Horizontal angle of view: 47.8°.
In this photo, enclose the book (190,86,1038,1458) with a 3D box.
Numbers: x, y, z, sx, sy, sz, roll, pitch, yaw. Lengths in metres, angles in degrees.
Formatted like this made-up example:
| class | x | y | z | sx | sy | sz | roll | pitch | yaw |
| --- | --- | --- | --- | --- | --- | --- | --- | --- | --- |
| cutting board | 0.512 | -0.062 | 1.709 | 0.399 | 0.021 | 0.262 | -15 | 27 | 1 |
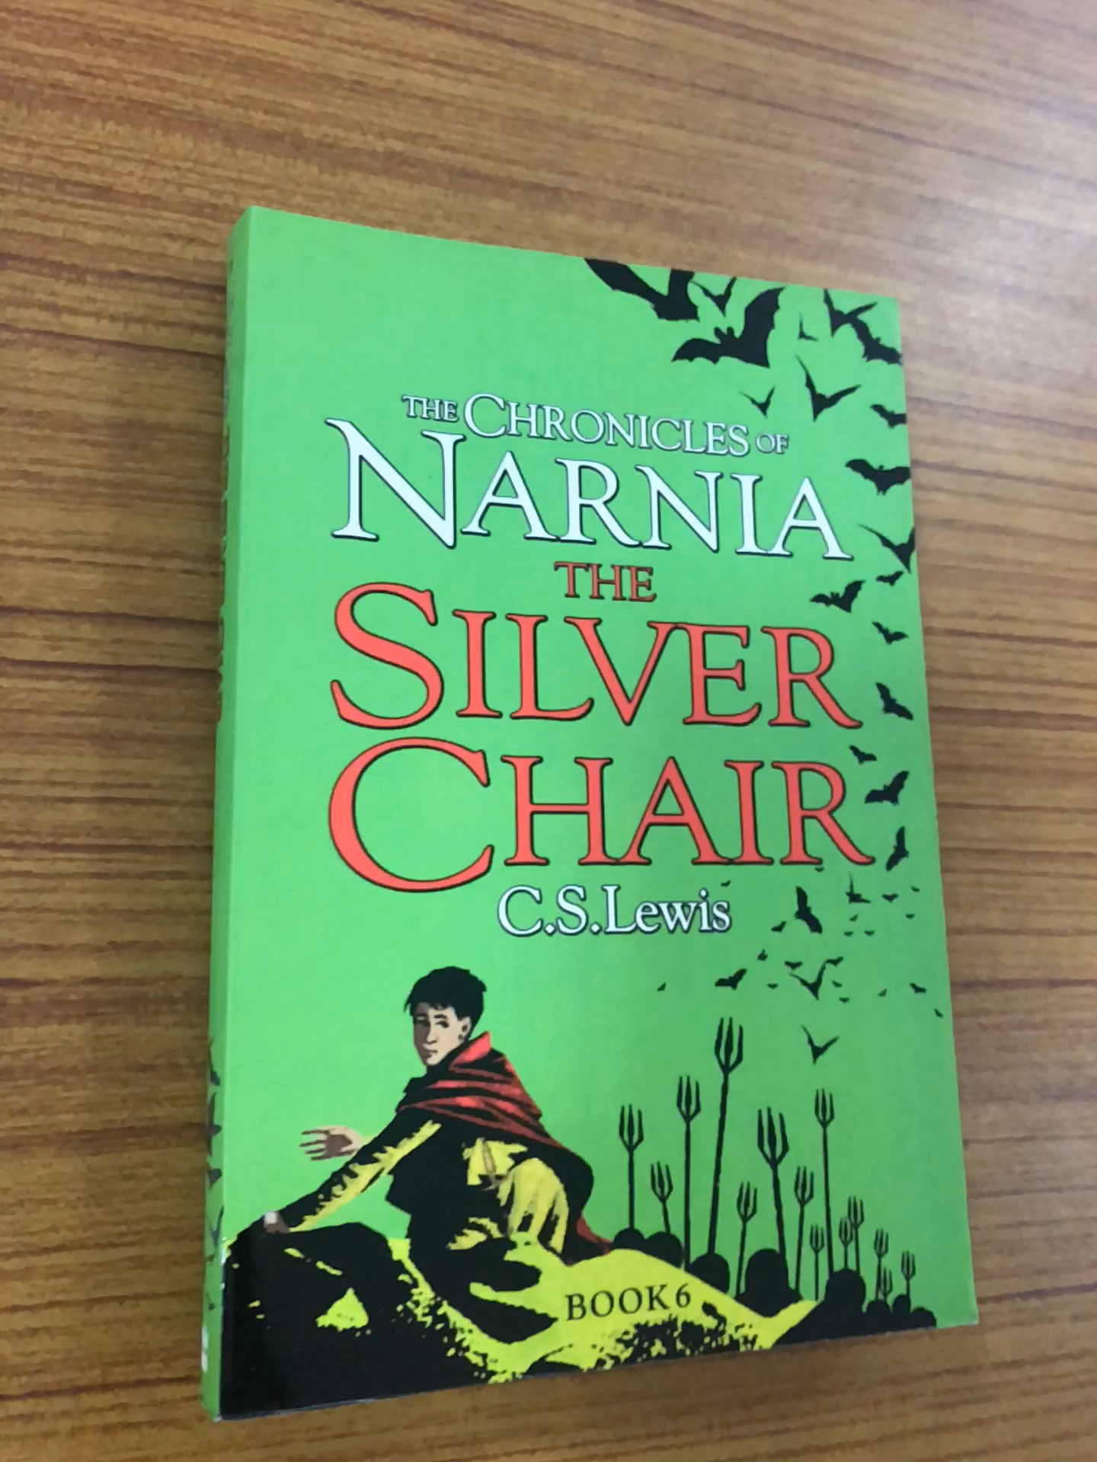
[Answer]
| class | x | y | z | sx | sy | sz | roll | pitch | yaw |
| --- | --- | --- | --- | --- | --- | --- | --- | --- | --- |
| book | 0.011 | 0.001 | 0.224 | 0.140 | 0.030 | 0.210 | 2 | 80 | -18 |
